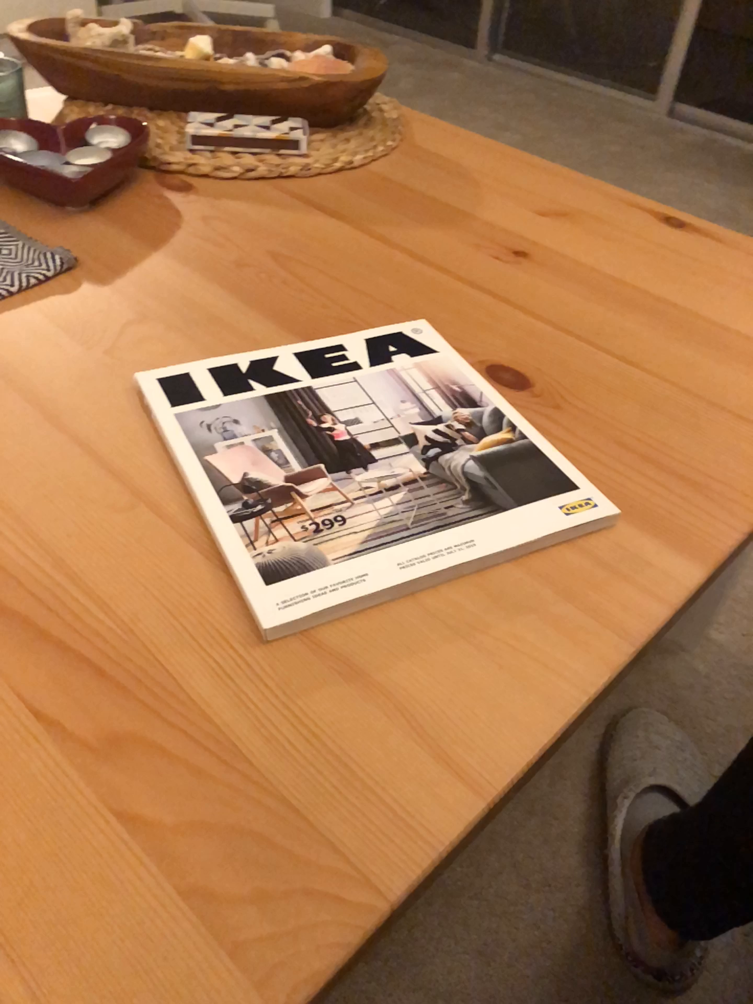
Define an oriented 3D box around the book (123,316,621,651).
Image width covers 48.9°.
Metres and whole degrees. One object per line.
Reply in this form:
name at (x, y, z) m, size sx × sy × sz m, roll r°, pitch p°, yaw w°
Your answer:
book at (-0.011, -0.032, 0.479) m, size 0.211 × 0.015 × 0.216 m, roll -16°, pitch 46°, yaw -24°
